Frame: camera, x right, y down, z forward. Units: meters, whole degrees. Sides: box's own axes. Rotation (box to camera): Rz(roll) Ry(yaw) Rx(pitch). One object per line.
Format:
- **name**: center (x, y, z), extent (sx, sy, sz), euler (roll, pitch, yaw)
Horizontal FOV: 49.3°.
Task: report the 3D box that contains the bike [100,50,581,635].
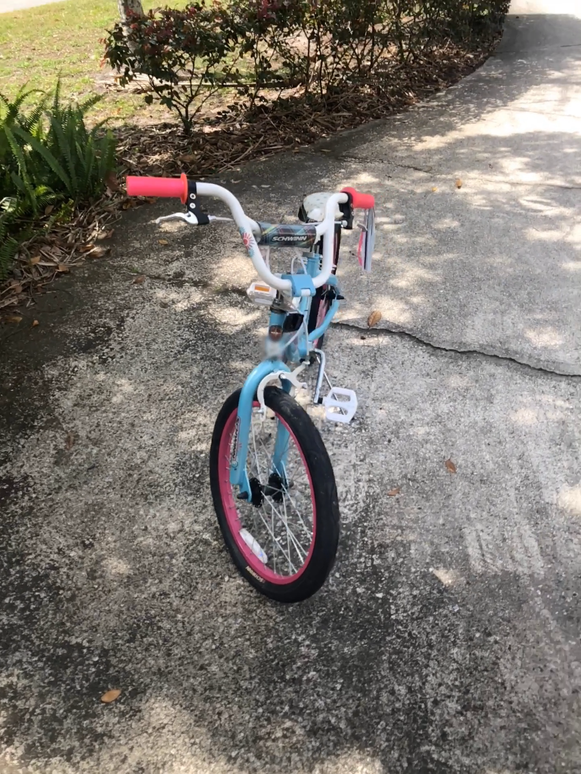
- **bike**: center (0.136, -0.240, 1.648), extent (0.699, 0.923, 1.316), euler (-1, 37, 5)
